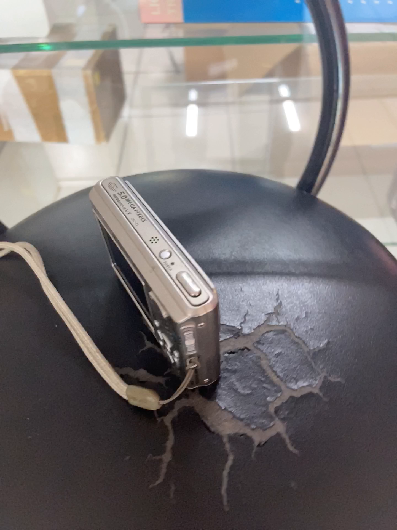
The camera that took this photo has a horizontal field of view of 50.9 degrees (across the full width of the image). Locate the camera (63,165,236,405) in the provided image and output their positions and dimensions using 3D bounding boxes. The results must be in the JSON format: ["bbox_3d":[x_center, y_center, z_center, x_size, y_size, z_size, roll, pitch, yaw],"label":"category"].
[{"bbox_3d":[-0.024,0.006,0.200,0.030,0.060,0.100,-27,52,-20],"label":"camera"}]
